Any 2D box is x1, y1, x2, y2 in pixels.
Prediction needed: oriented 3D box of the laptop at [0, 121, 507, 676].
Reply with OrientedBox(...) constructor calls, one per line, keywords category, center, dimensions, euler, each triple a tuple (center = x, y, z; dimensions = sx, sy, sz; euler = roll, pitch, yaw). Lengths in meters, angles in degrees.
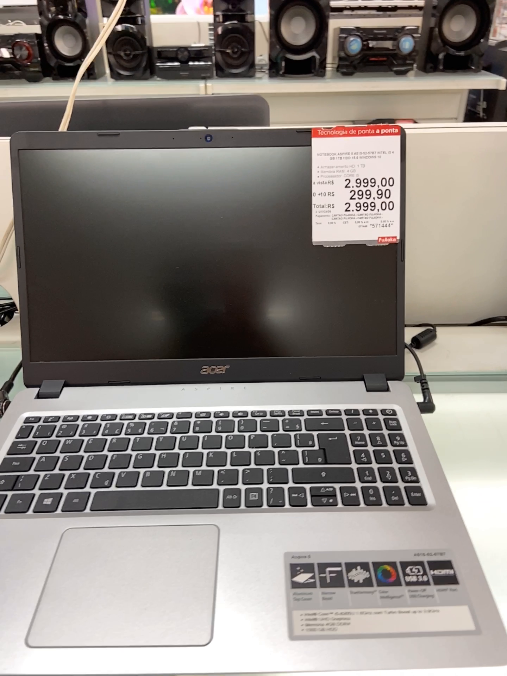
OrientedBox(category="laptop", center=(-0.043, -0.007, 0.388), dimensions=(0.366, 0.205, 0.374), euler=(-1, 34, 1))
